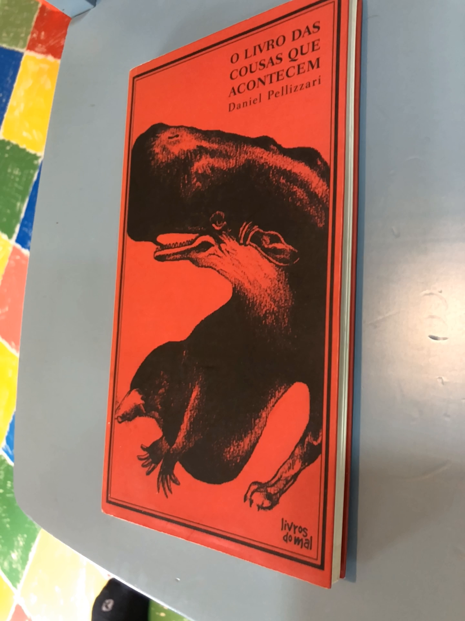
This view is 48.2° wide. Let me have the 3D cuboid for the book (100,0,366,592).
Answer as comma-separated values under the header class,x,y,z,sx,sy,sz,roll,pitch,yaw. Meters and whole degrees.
class,x,y,z,sx,sy,sz,roll,pitch,yaw
book,-0.004,-0.012,0.208,0.110,0.016,0.200,-1,83,37
